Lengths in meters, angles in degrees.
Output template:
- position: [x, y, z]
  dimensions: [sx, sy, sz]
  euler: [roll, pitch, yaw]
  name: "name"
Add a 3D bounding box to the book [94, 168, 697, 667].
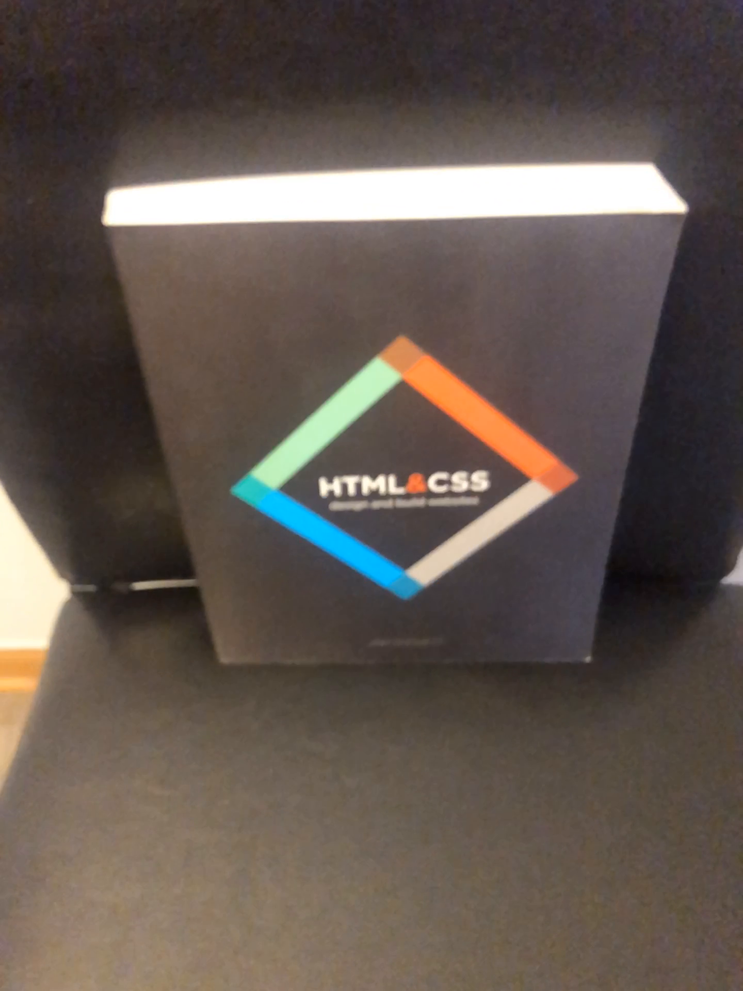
- position: [0.011, -0.012, 0.349]
  dimensions: [0.188, 0.231, 0.030]
  euler: [-1, 42, 2]
  name: "book"
